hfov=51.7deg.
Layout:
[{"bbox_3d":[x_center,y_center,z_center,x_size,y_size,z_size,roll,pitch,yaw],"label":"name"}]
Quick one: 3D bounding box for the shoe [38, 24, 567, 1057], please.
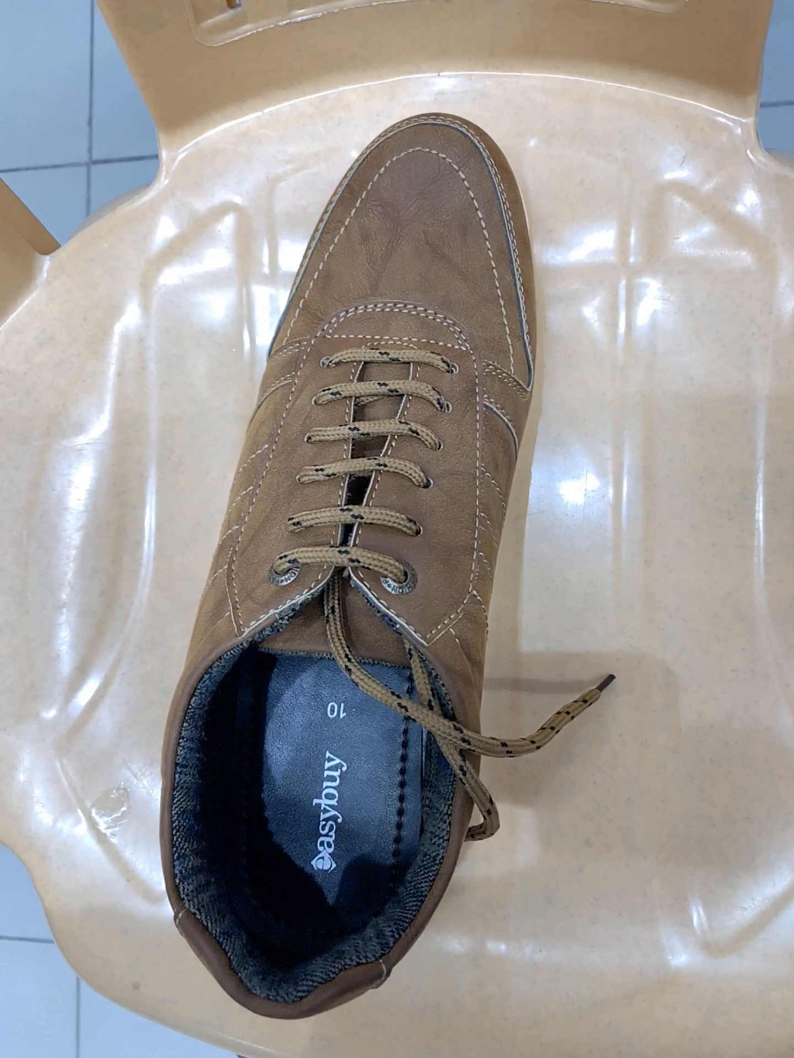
[{"bbox_3d":[-0.011,-0.003,0.281,0.100,0.100,0.310,6,77,11],"label":"shoe"}]
